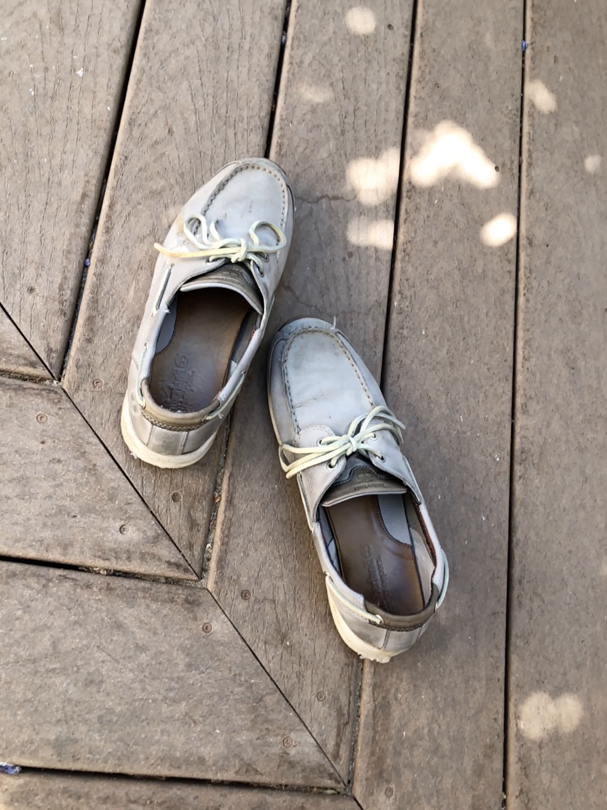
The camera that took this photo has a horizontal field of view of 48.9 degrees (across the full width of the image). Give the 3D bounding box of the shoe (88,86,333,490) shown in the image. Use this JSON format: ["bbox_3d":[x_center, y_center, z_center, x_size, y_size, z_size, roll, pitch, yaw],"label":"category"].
[{"bbox_3d":[-0.077,-0.100,0.580,0.116,0.099,0.314,18,70,-11],"label":"shoe"}]

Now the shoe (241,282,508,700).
[{"bbox_3d":[0.049,0.066,0.575,0.120,0.109,0.310,-10,78,-19],"label":"shoe"}]
